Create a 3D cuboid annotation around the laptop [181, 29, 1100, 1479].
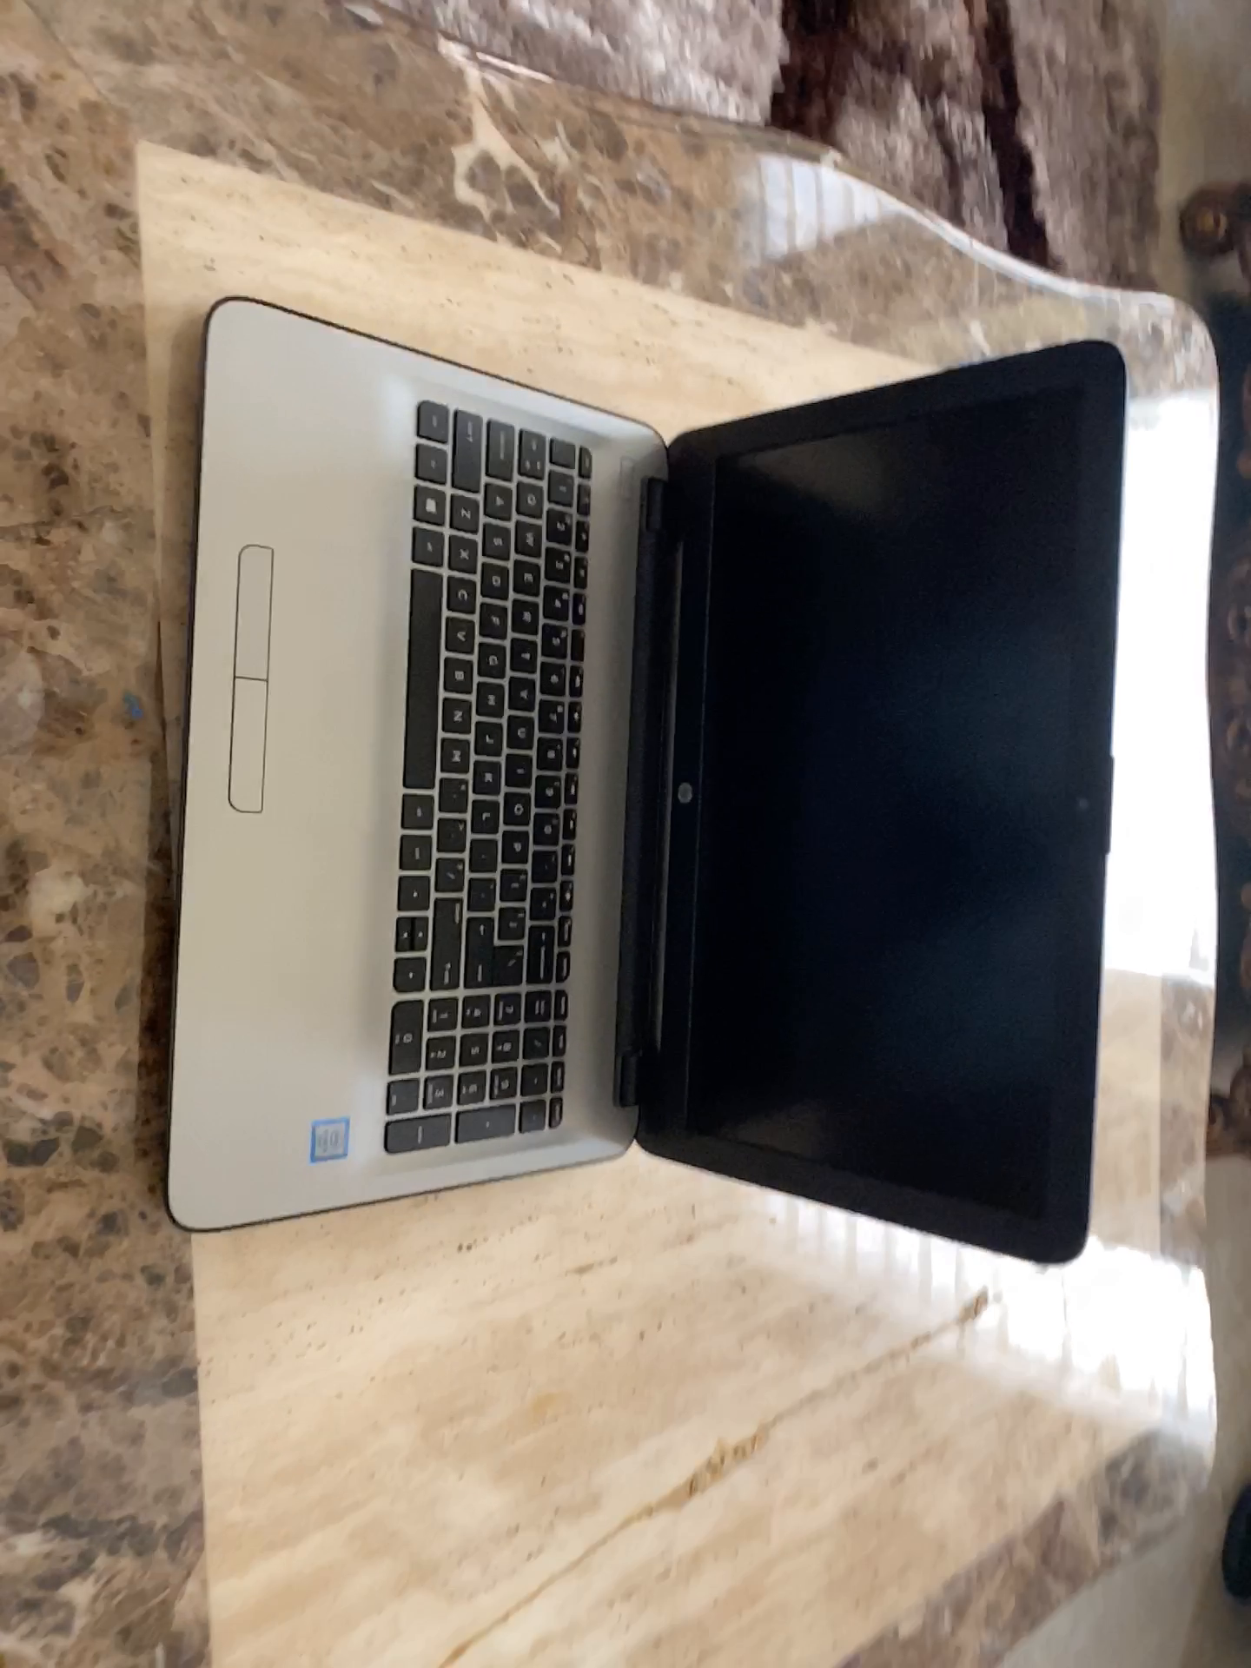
[{"bbox_3d":[0.006,-0.018,0.507,0.266,0.240,0.371,2,91,-43],"label":"laptop"}]
